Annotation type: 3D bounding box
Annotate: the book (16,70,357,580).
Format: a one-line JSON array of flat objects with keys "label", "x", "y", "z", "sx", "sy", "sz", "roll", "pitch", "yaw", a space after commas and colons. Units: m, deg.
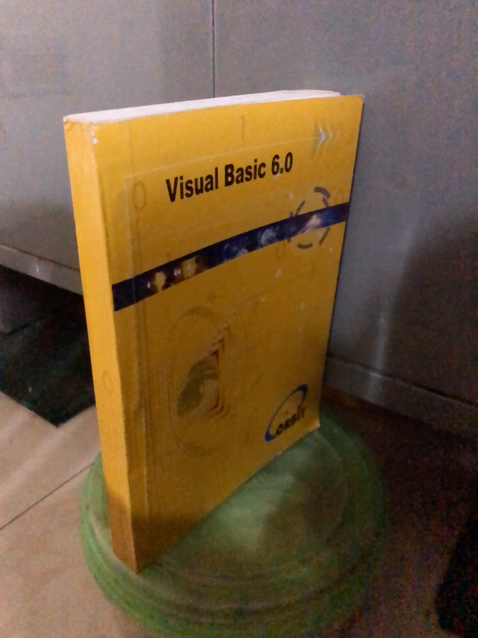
[{"label": "book", "x": -0.009, "y": -0.006, "z": 0.354, "sx": 0.040, "sy": 0.279, "sz": 0.221, "roll": 22, "pitch": 35, "yaw": 34}]
